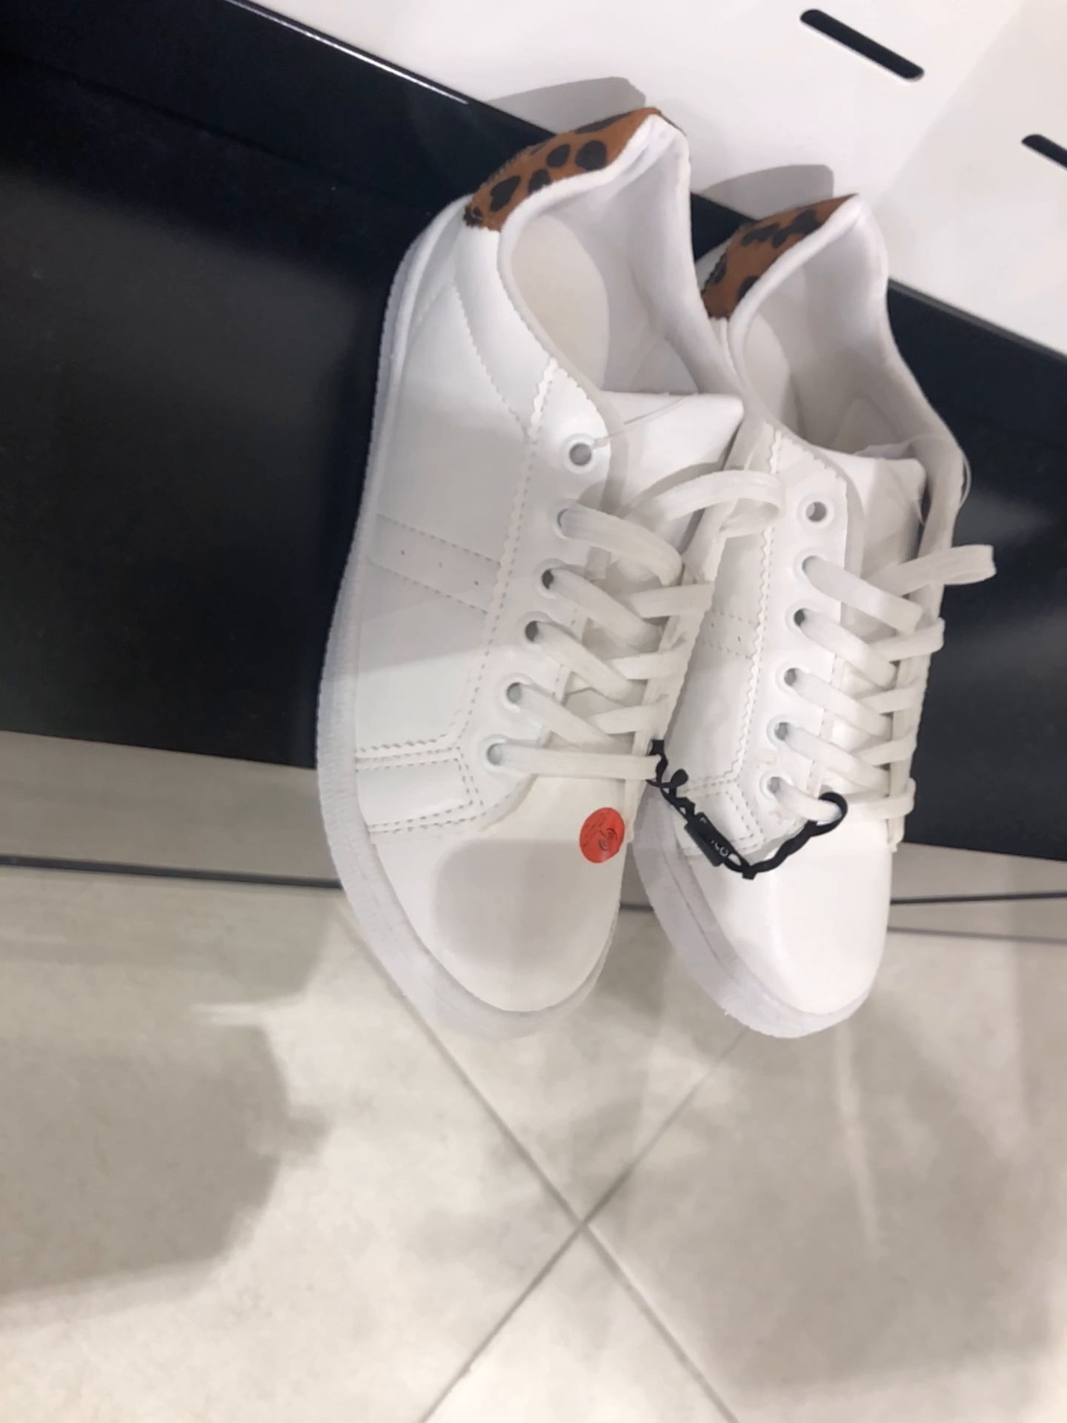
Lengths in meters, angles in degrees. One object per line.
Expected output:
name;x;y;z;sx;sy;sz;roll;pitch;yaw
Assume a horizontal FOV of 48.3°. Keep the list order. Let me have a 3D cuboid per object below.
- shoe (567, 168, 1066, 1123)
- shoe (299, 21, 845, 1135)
shoe;0.079;-0.014;0.337;0.090;0.100;0.220;0;84;-30
shoe;0.008;-0.024;0.295;0.090;0.100;0.220;6;81;-29
